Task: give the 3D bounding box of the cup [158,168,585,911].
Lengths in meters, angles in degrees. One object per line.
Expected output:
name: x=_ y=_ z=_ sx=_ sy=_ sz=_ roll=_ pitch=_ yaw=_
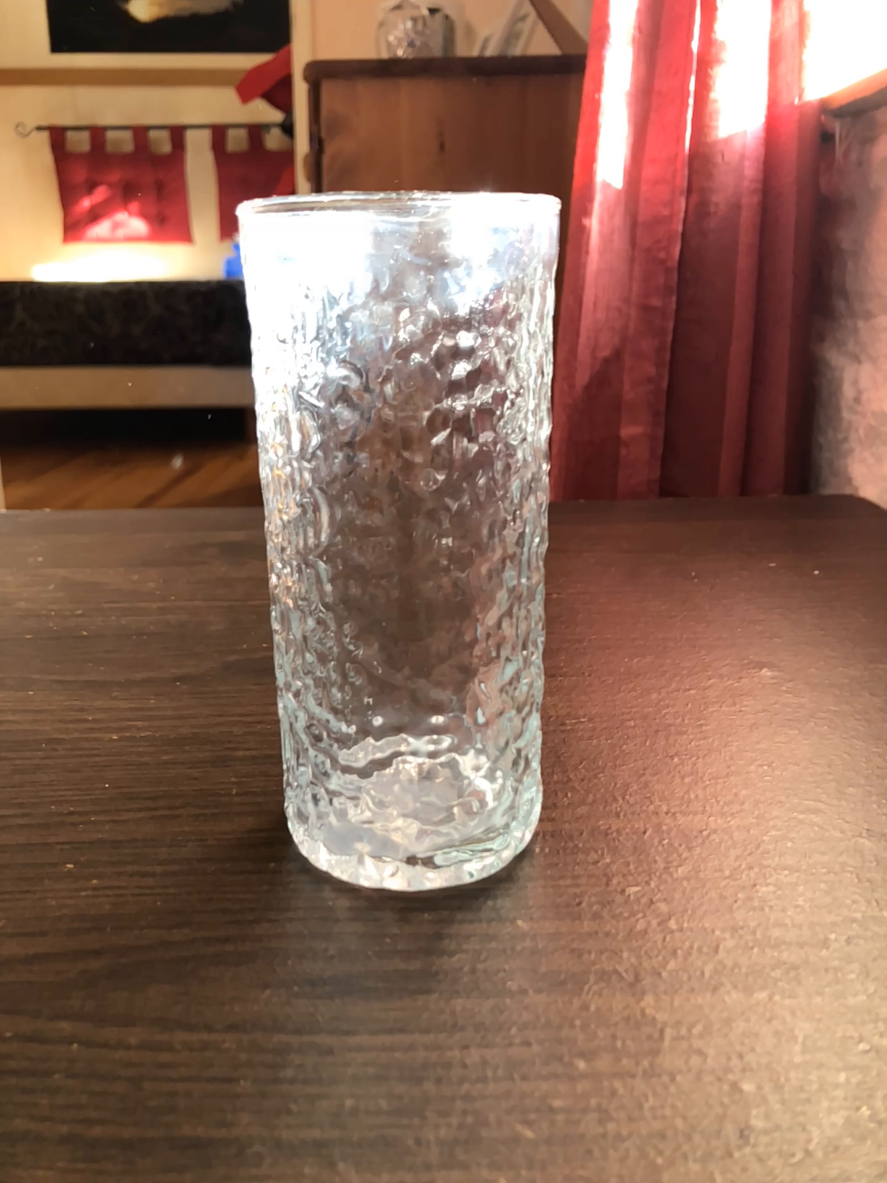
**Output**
cup: x=-0.008 y=-0.014 z=0.206 sx=0.068 sy=0.131 sz=0.070 roll=1 pitch=17 yaw=0
